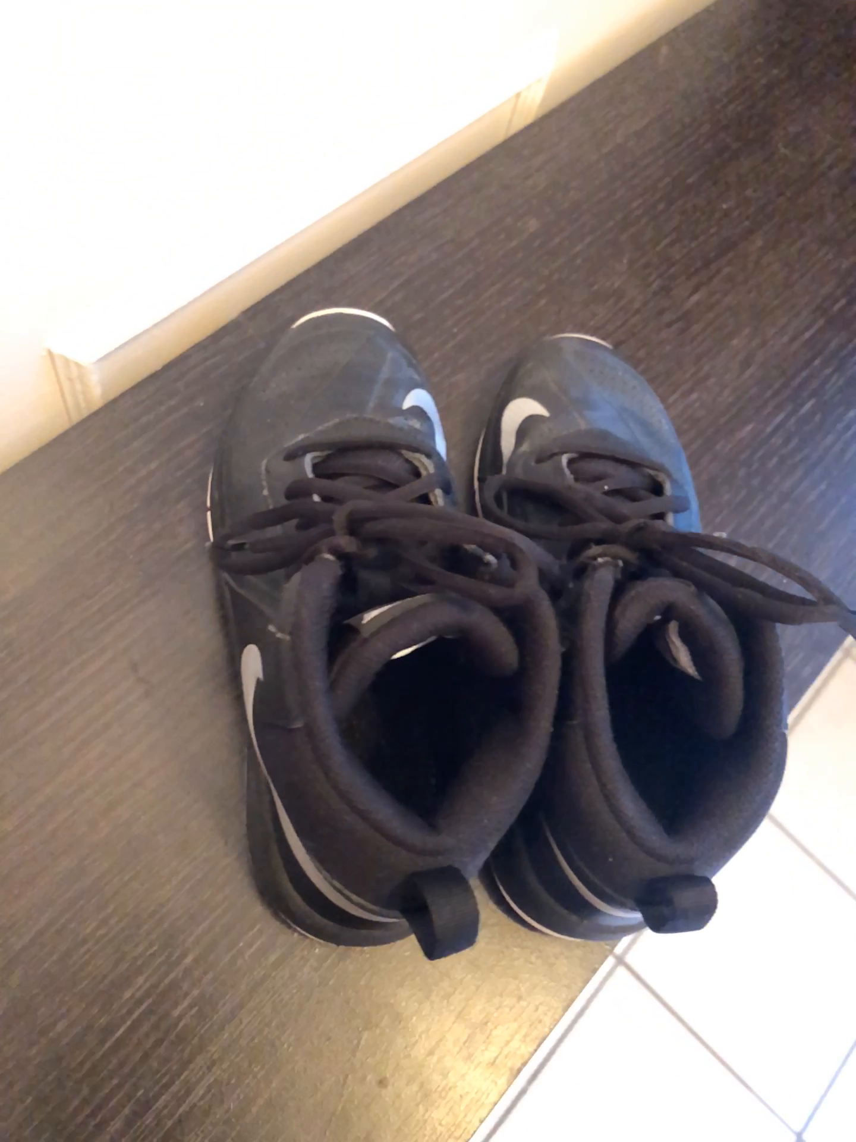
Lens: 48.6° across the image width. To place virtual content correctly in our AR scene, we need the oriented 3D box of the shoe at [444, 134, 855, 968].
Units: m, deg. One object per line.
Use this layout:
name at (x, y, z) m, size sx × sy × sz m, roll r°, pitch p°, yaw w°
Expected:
shoe at (0.068, 0.000, 0.329) m, size 0.100 × 0.130 × 0.251 m, roll 5°, pitch 66°, yaw -9°

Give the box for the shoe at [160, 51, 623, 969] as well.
shoe at (-0.029, -0.016, 0.311) m, size 0.100 × 0.130 × 0.261 m, roll 0°, pitch 67°, yaw -12°
